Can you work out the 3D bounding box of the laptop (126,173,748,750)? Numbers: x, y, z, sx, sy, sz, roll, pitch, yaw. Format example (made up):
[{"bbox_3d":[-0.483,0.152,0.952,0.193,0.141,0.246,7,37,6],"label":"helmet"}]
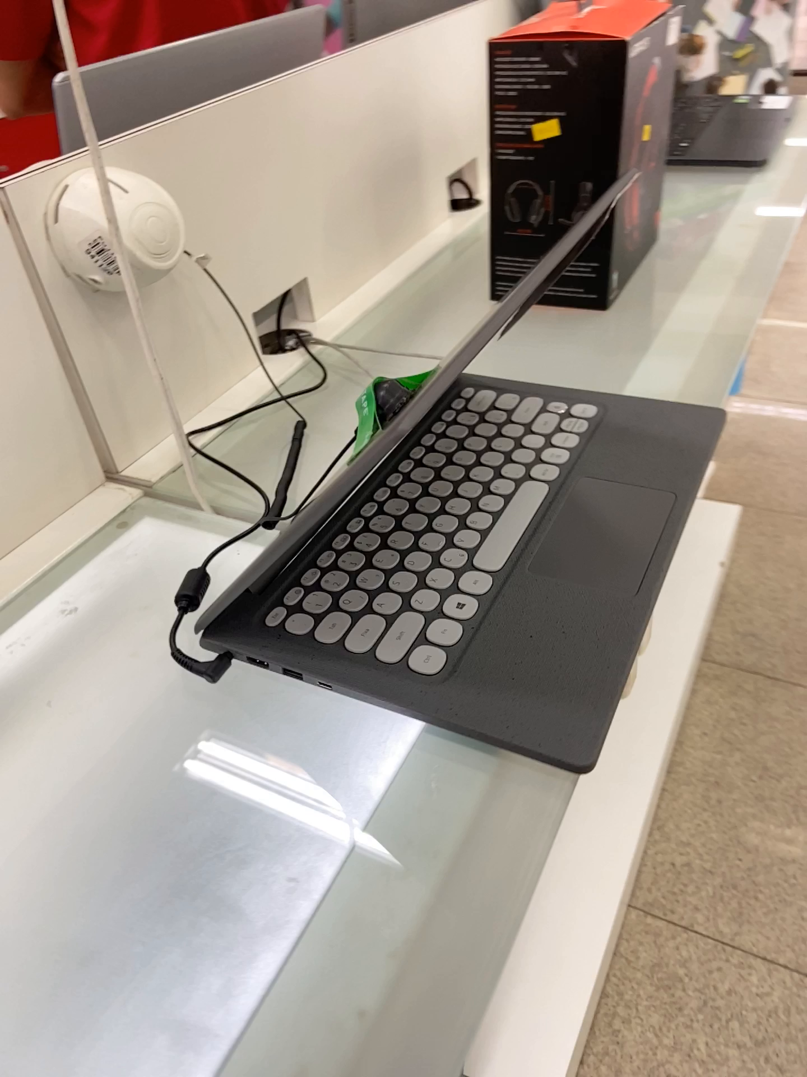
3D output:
[{"bbox_3d":[0.049,-0.080,0.469,0.208,0.153,0.313,13,41,24],"label":"laptop"}]
